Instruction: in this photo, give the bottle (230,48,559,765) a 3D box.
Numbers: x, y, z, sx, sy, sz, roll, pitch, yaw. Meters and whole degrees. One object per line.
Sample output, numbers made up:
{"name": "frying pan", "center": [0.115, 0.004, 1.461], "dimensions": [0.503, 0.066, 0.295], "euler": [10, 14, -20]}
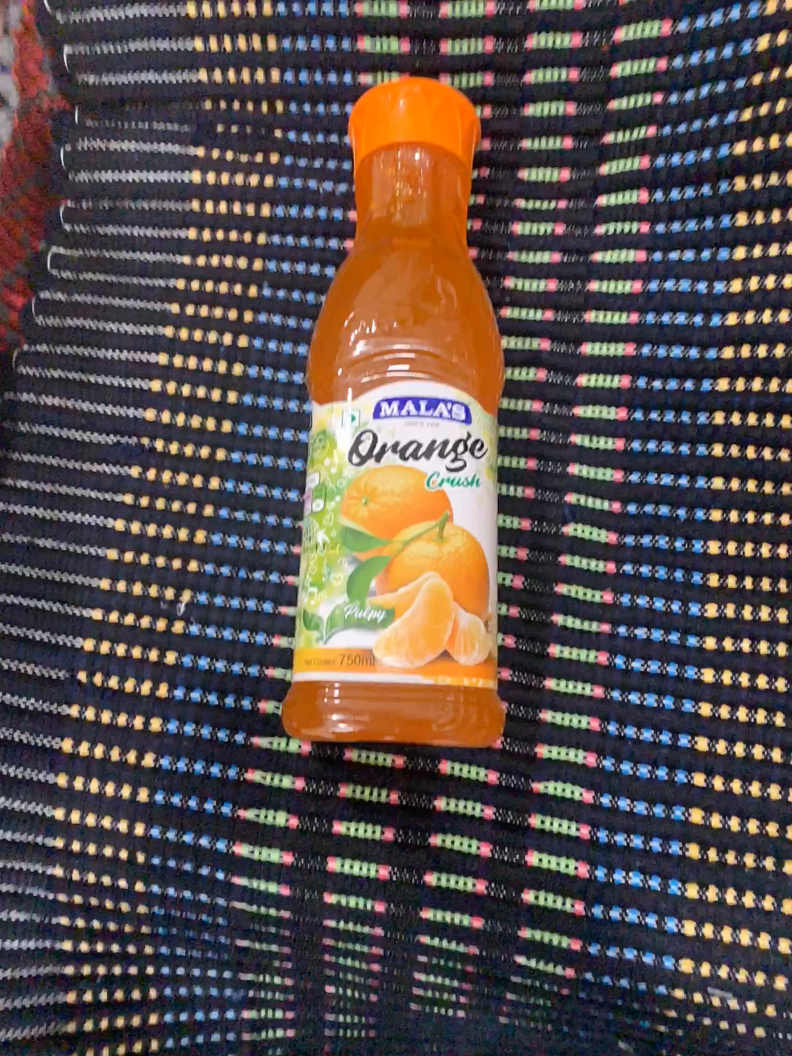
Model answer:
{"name": "bottle", "center": [0.005, -0.038, 0.275], "dimensions": [0.080, 0.080, 0.220], "euler": [4, 74, 0]}
